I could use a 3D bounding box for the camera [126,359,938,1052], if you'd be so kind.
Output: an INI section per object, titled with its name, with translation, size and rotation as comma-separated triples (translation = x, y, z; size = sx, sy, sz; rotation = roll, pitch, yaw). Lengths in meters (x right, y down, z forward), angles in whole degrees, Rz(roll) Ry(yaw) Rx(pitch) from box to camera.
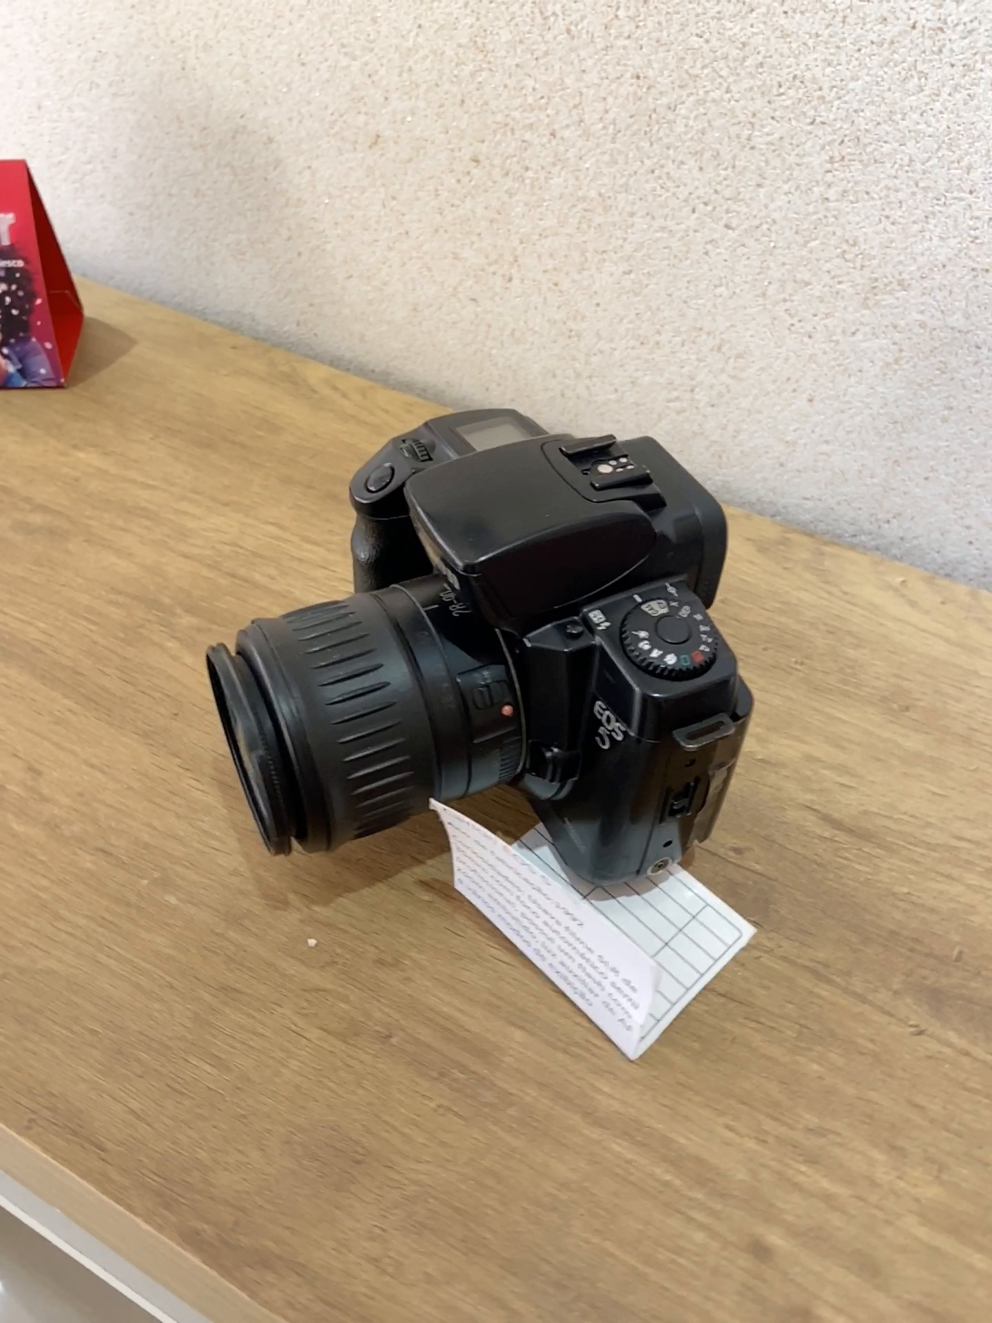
[camera]
translation = 0.003, -0.005, 0.327
size = 0.180, 0.080, 0.161
rotation = -21, 49, -22
